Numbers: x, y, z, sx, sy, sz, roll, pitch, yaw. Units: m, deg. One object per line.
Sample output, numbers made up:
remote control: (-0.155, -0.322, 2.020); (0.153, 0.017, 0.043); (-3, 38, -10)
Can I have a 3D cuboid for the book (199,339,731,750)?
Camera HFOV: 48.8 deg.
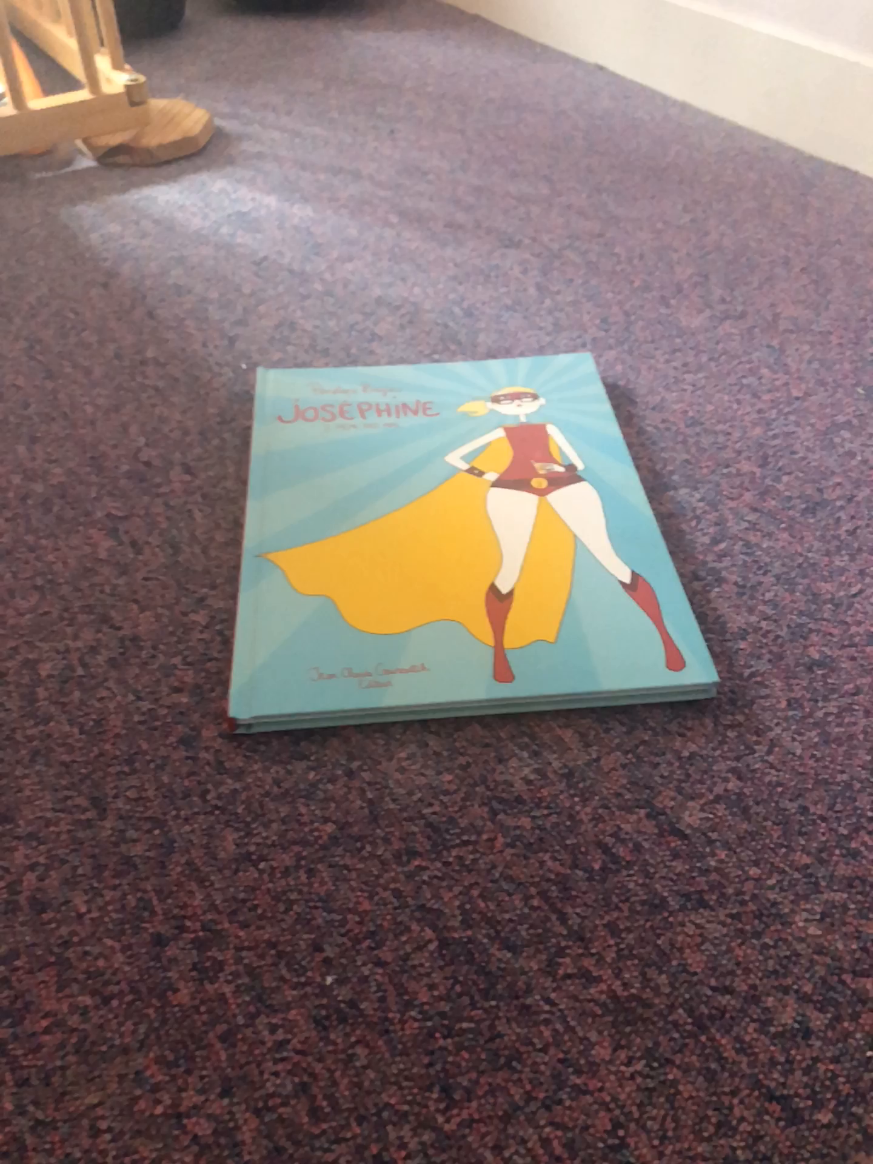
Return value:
book: (0.001, -0.045, 0.539); (0.234, 0.020, 0.308); (-3, 43, -4)
